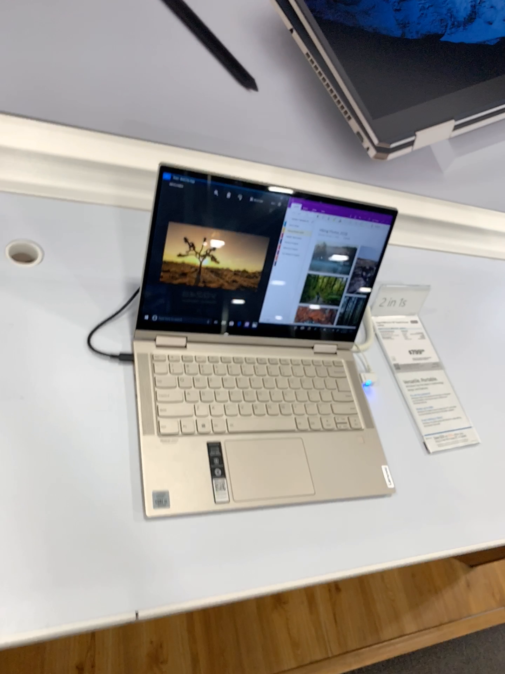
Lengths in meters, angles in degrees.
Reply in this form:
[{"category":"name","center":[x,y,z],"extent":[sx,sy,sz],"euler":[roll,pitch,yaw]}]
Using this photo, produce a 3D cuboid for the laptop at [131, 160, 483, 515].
[{"category":"laptop","center":[0.037,0.001,0.616],"extent":[0.310,0.170,0.329],"euler":[3,58,-24]}]
